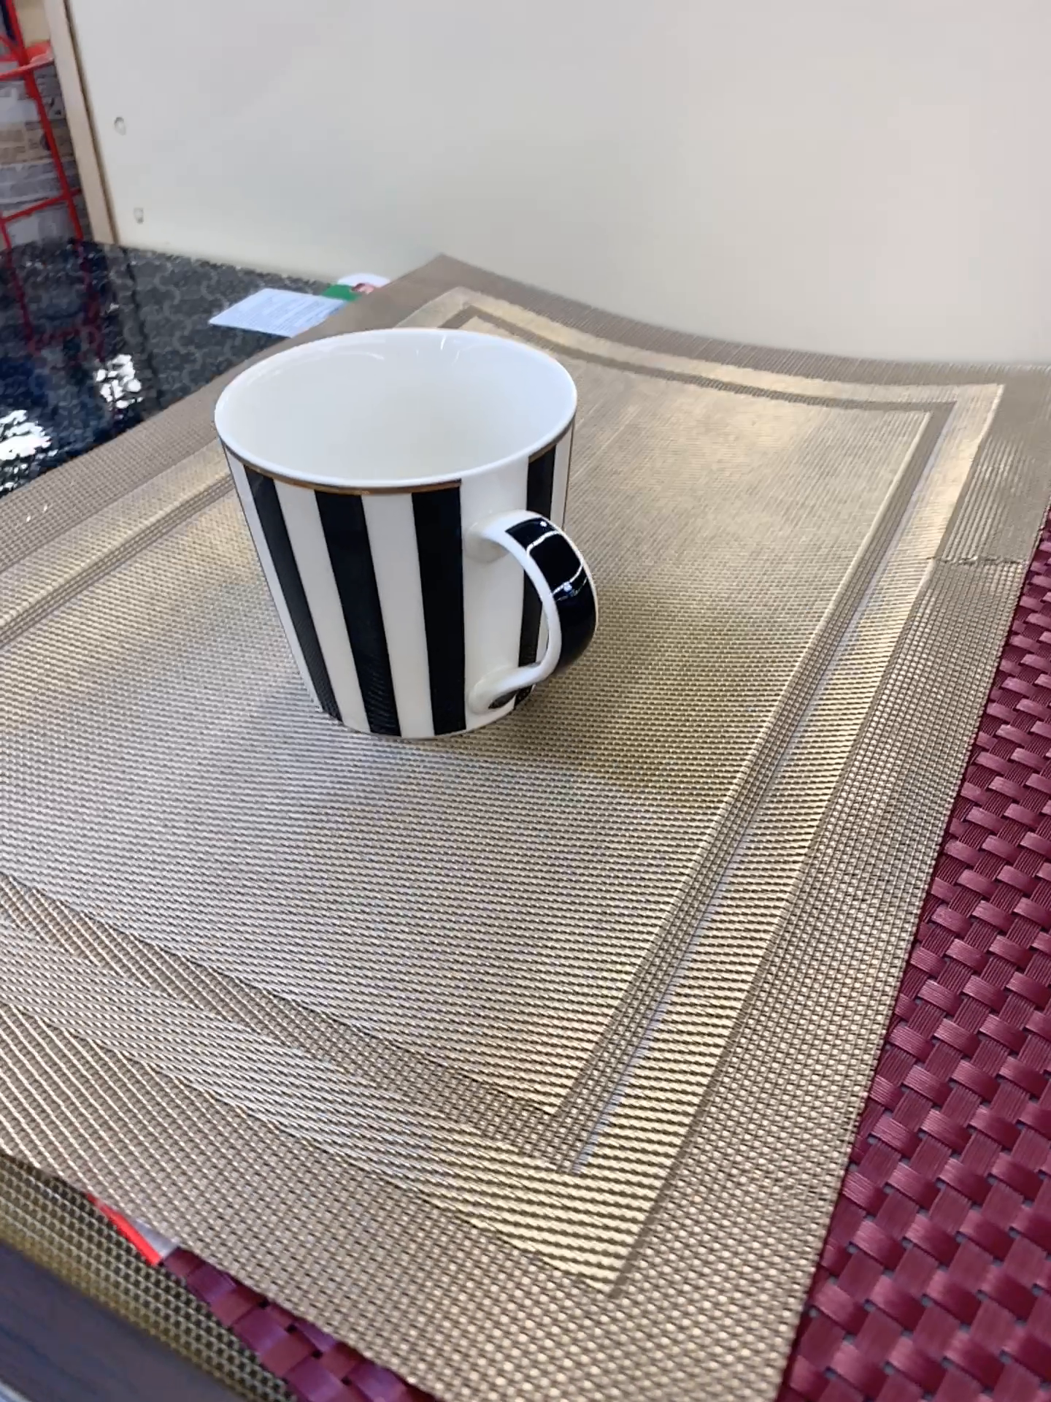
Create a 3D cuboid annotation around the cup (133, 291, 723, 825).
[{"bbox_3d":[-0.030,-0.051,0.307,0.100,0.080,0.130,-23,42,-28],"label":"cup"}]
